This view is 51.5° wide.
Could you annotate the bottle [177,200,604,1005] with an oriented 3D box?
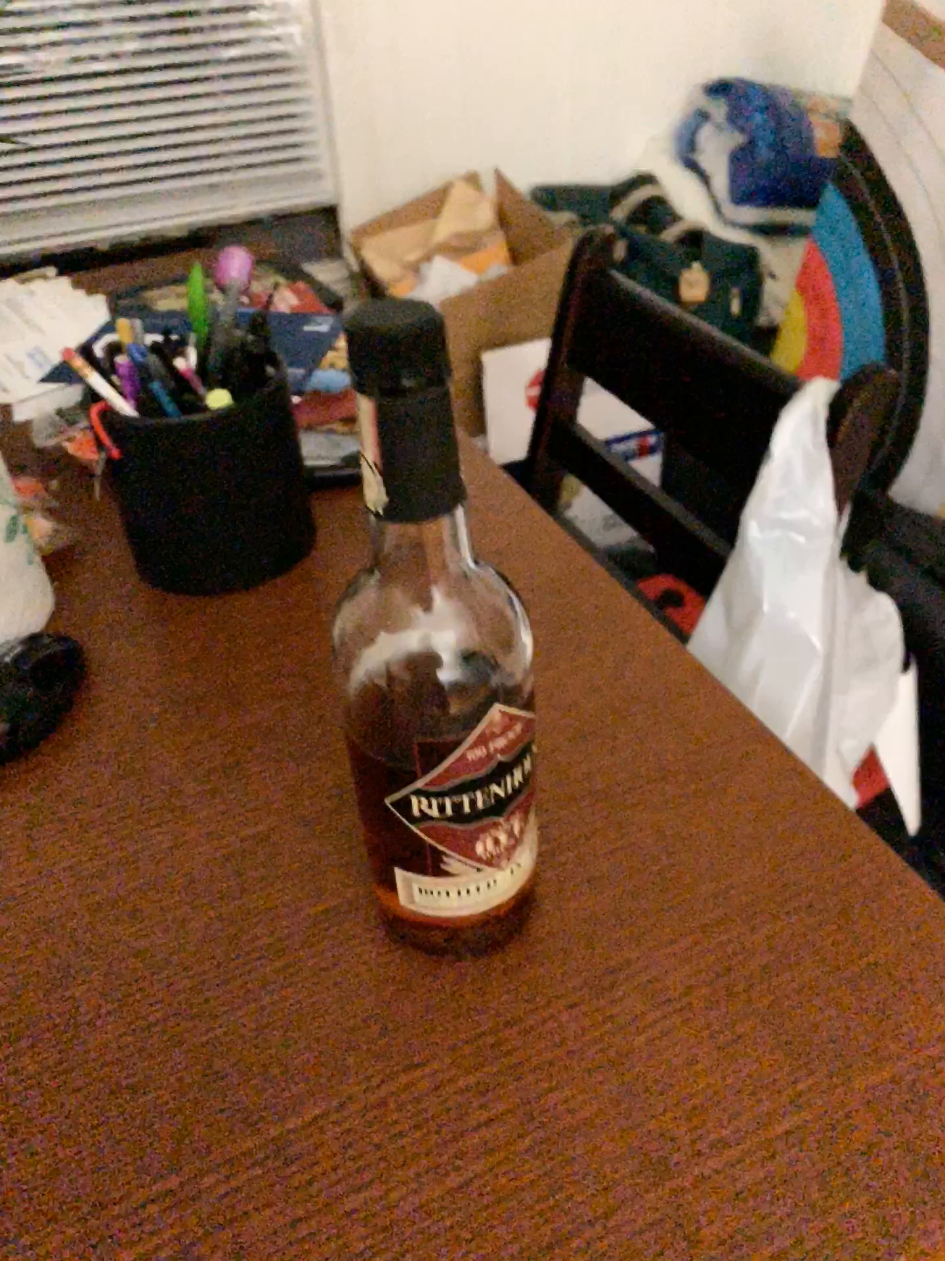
[{"bbox_3d":[-0.019,0.006,0.374,0.090,0.288,0.090,-2,39,2],"label":"bottle"}]
